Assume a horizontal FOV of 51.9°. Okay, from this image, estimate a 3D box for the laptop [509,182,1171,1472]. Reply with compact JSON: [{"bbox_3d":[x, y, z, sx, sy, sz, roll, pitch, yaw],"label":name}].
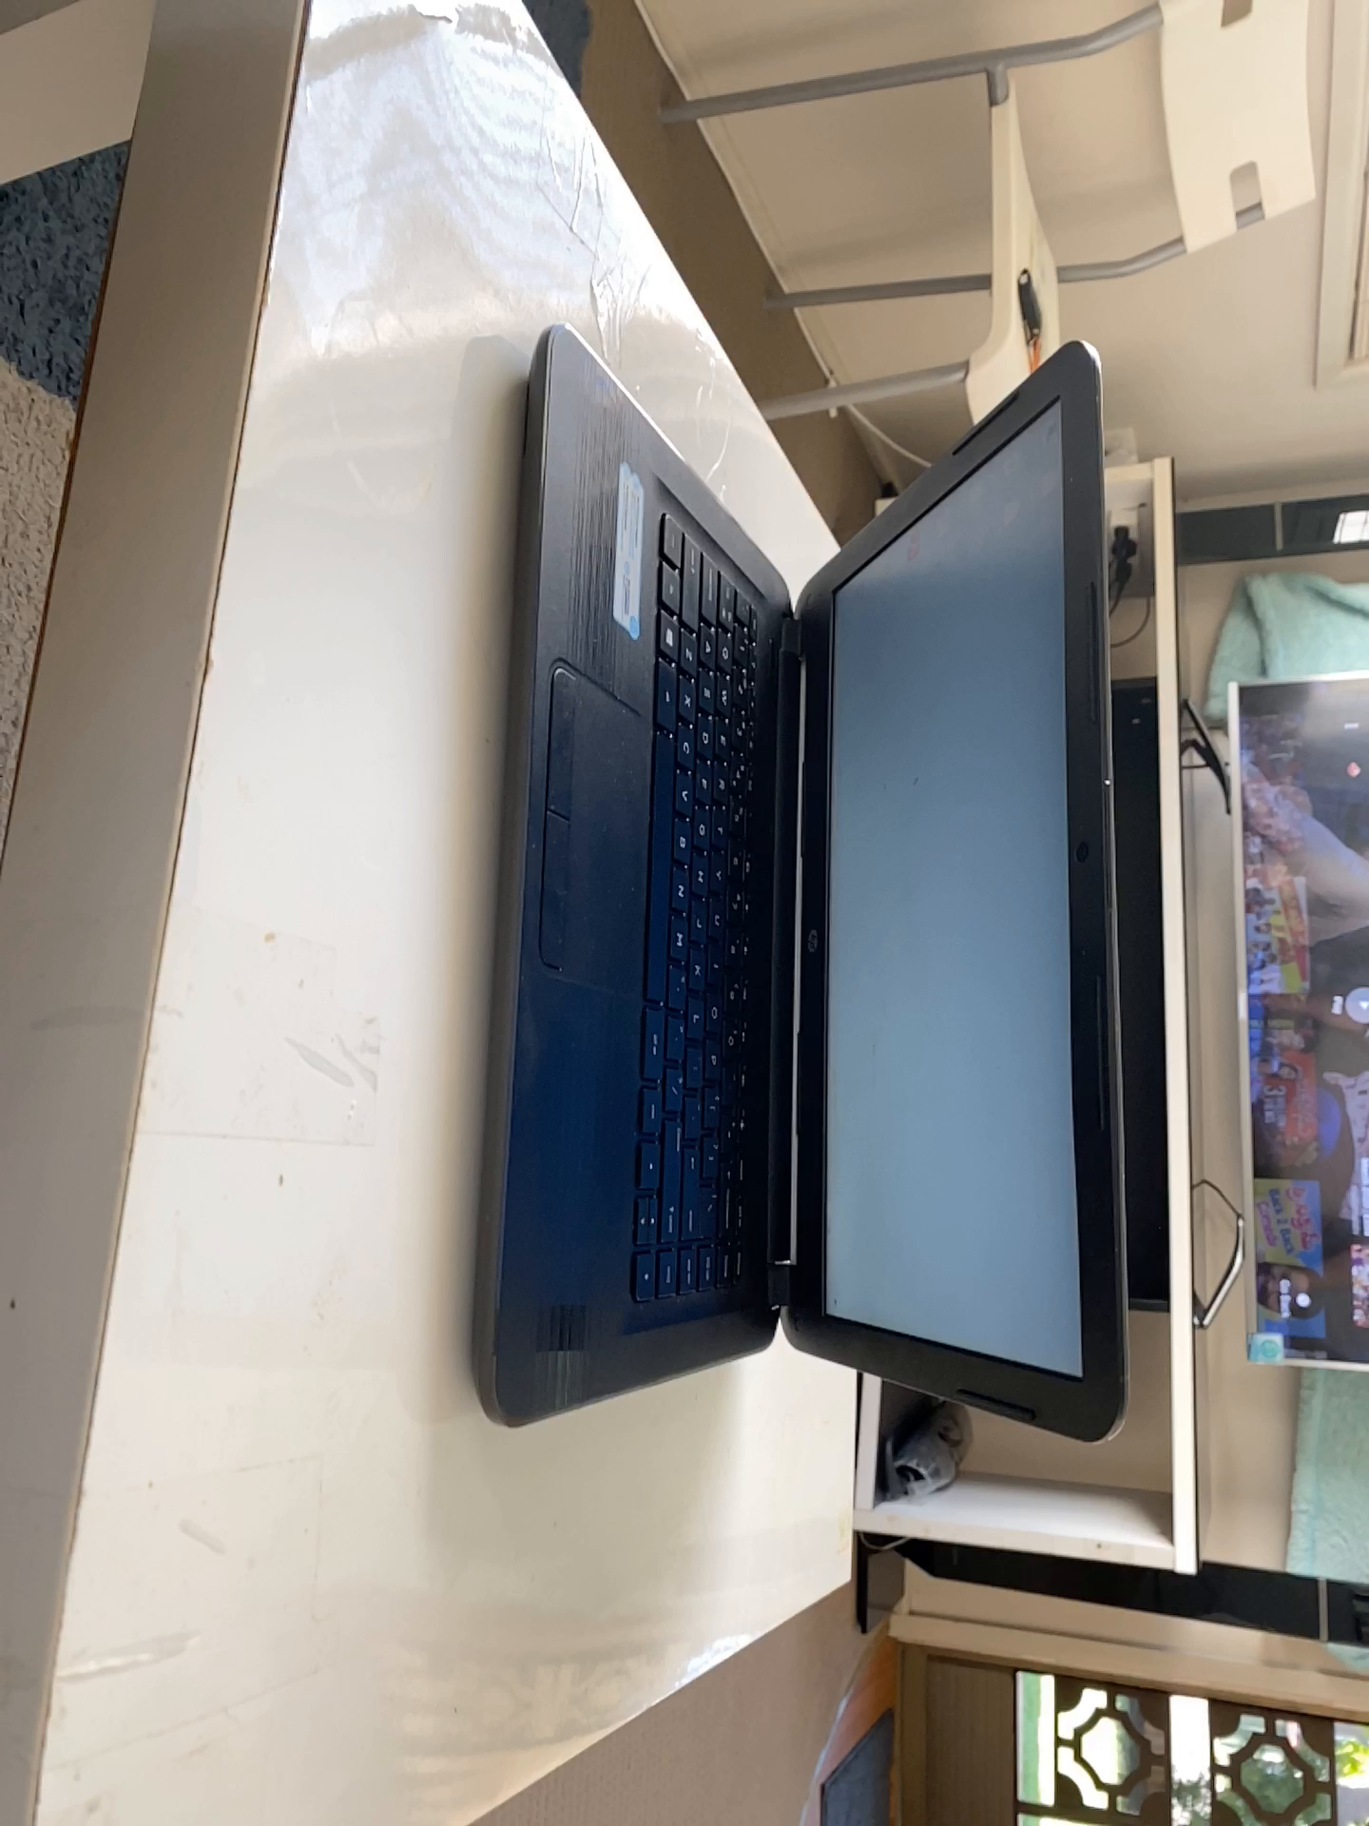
[{"bbox_3d":[0.071,-0.016,0.486,0.226,0.154,0.335,24,65,-65],"label":"laptop"}]
